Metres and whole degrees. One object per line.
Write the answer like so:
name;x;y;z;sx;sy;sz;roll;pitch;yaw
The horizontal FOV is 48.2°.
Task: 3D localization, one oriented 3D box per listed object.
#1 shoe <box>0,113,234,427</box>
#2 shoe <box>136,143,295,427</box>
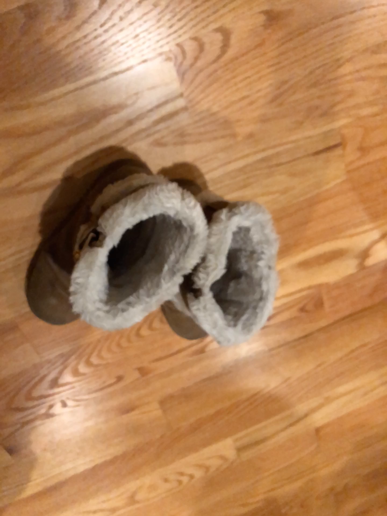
shoe;-0.104;0.002;0.460;0.106;0.194;0.254;28;105;-27
shoe;0.020;0.020;0.510;0.113;0.194;0.255;-12;119;-11
